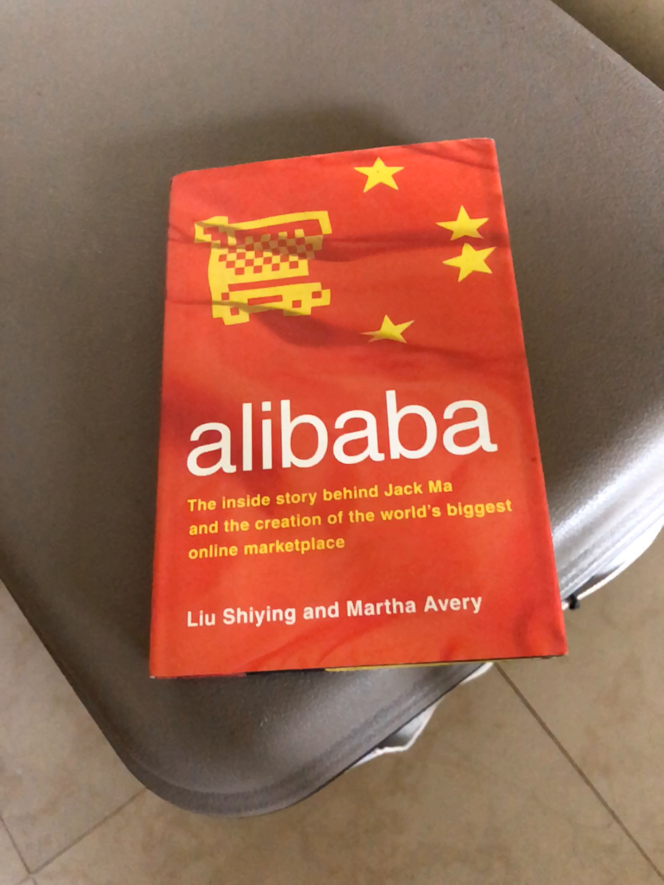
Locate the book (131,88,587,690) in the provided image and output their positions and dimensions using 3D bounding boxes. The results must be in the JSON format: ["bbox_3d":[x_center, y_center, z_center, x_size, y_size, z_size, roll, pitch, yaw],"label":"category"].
[{"bbox_3d":[0.002,-0.035,0.325,0.160,0.040,0.260,-4,69,0],"label":"book"}]
